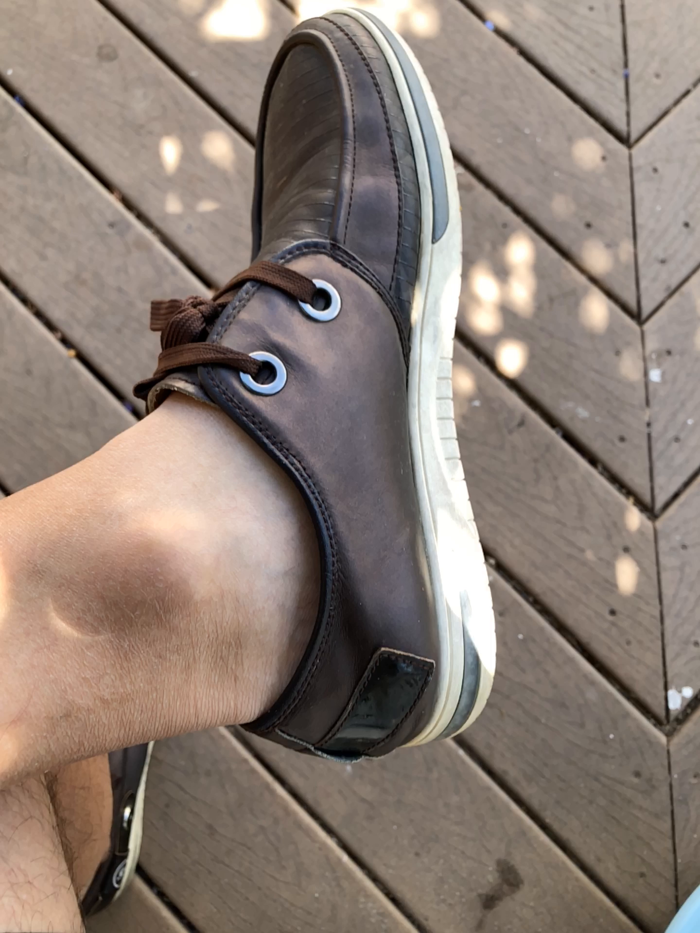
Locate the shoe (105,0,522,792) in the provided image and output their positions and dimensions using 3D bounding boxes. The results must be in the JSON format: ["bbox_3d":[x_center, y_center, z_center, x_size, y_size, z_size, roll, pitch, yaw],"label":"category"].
[{"bbox_3d":[-0.013,-0.044,0.283,0.102,0.097,0.274,7,79,-40],"label":"shoe"}]
